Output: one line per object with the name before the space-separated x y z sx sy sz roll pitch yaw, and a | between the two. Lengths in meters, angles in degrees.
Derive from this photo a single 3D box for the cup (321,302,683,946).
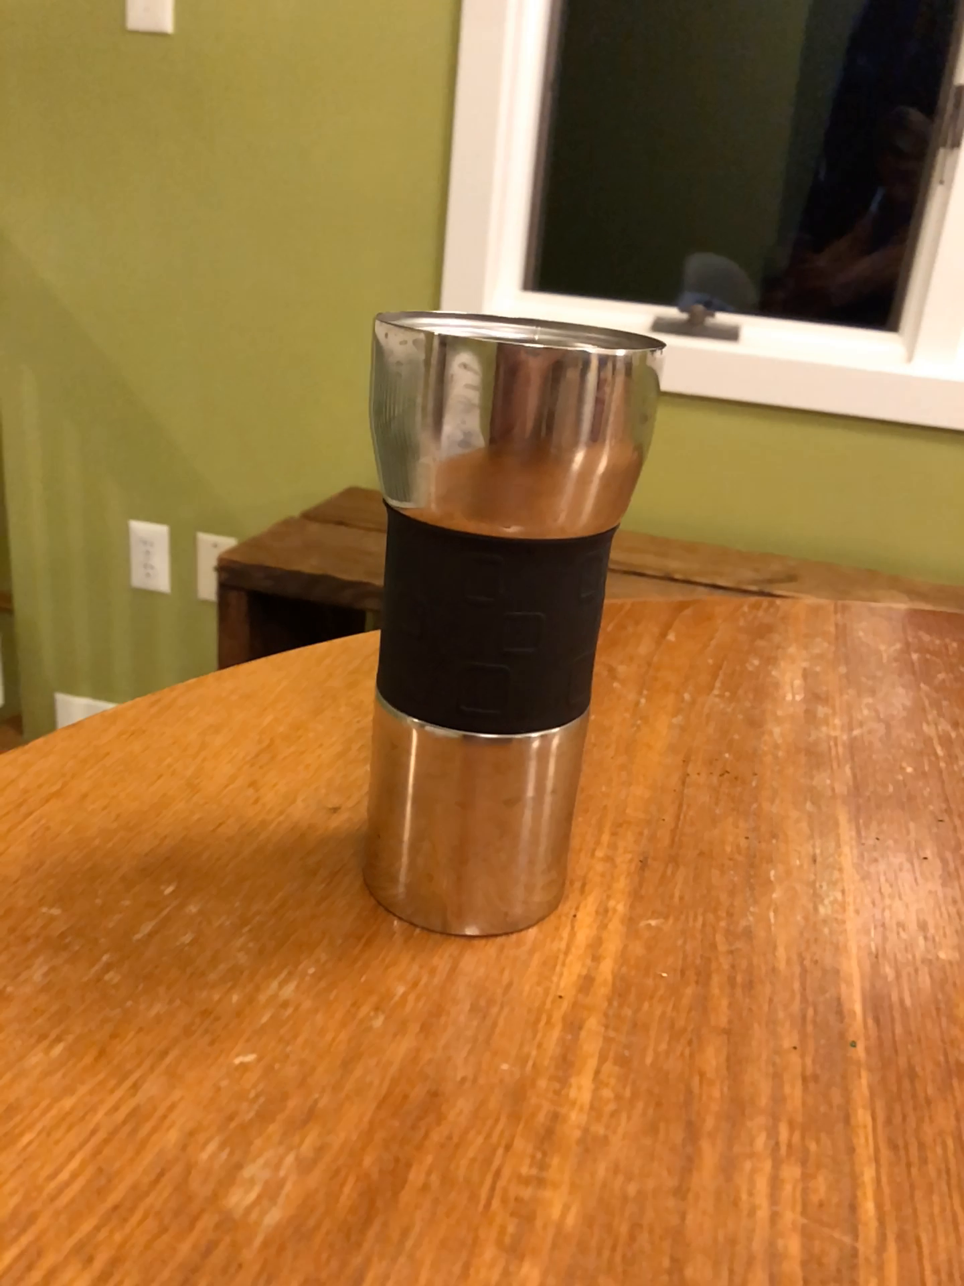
cup | 0.002 -0.009 0.332 0.083 0.173 0.088 5 21 -2
